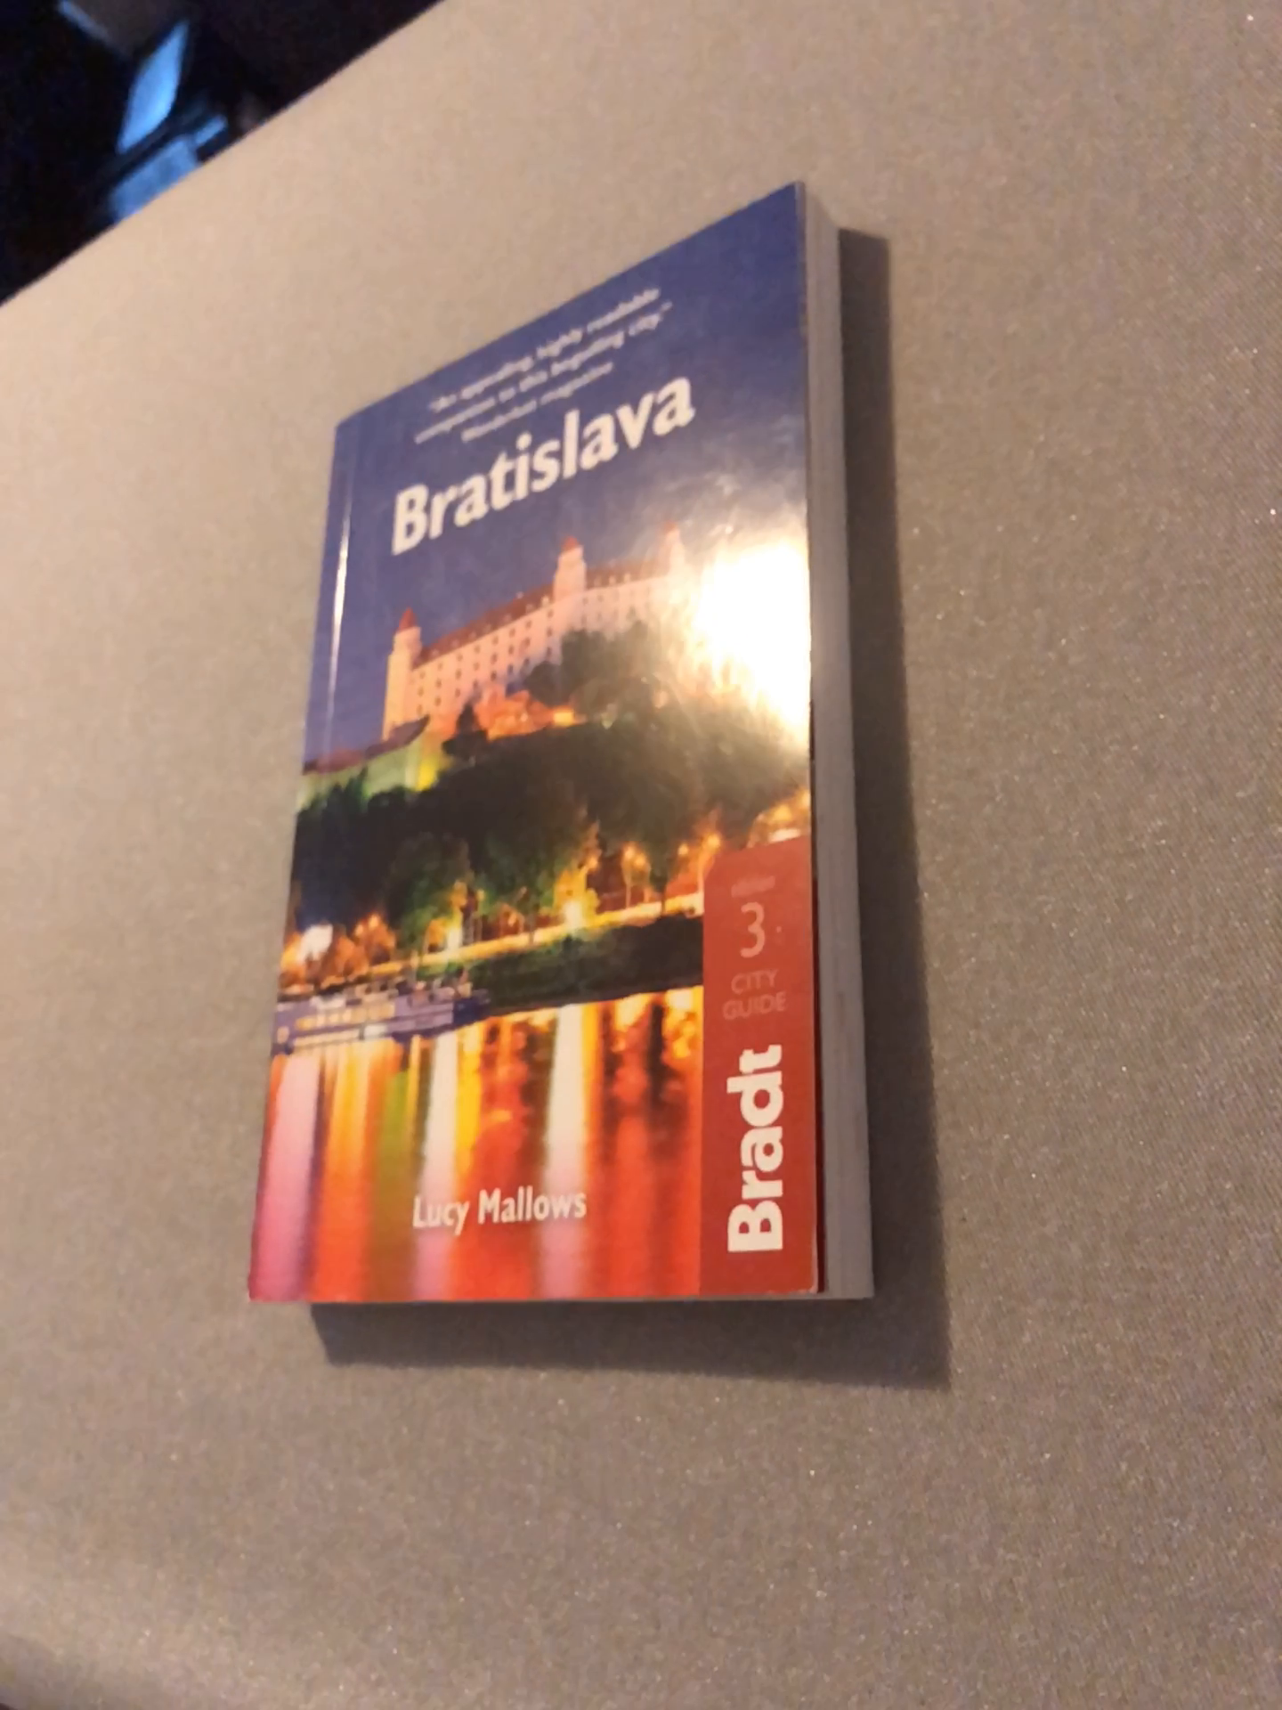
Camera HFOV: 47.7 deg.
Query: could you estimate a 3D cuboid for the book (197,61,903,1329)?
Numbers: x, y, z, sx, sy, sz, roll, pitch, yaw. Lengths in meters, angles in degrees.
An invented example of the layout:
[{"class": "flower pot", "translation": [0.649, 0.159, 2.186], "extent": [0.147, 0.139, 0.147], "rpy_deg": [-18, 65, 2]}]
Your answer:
[{"class": "book", "translation": [-0.021, -0.023, 0.270], "extent": [0.141, 0.020, 0.210], "rpy_deg": [-14, 66, 38]}]
